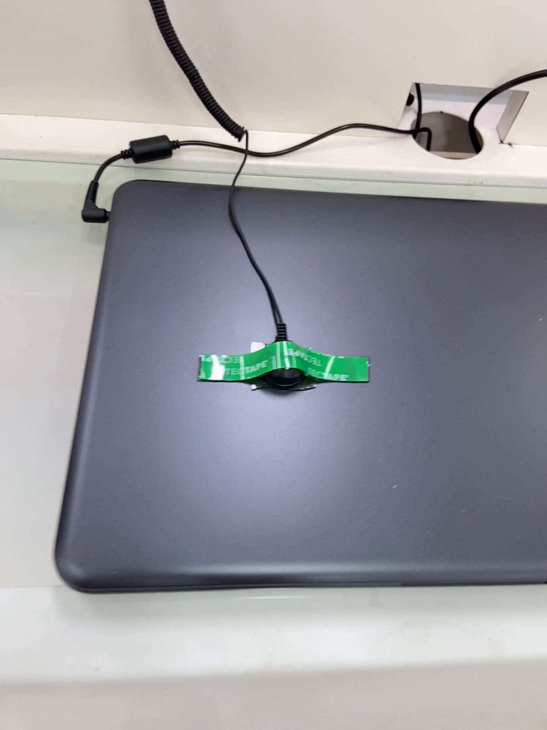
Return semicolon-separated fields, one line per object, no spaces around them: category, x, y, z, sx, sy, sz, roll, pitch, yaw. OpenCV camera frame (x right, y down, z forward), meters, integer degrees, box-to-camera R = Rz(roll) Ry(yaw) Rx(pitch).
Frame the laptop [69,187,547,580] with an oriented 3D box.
laptop;0.087;-0.006;0.313;0.351;0.001;0.233;2;58;-7
